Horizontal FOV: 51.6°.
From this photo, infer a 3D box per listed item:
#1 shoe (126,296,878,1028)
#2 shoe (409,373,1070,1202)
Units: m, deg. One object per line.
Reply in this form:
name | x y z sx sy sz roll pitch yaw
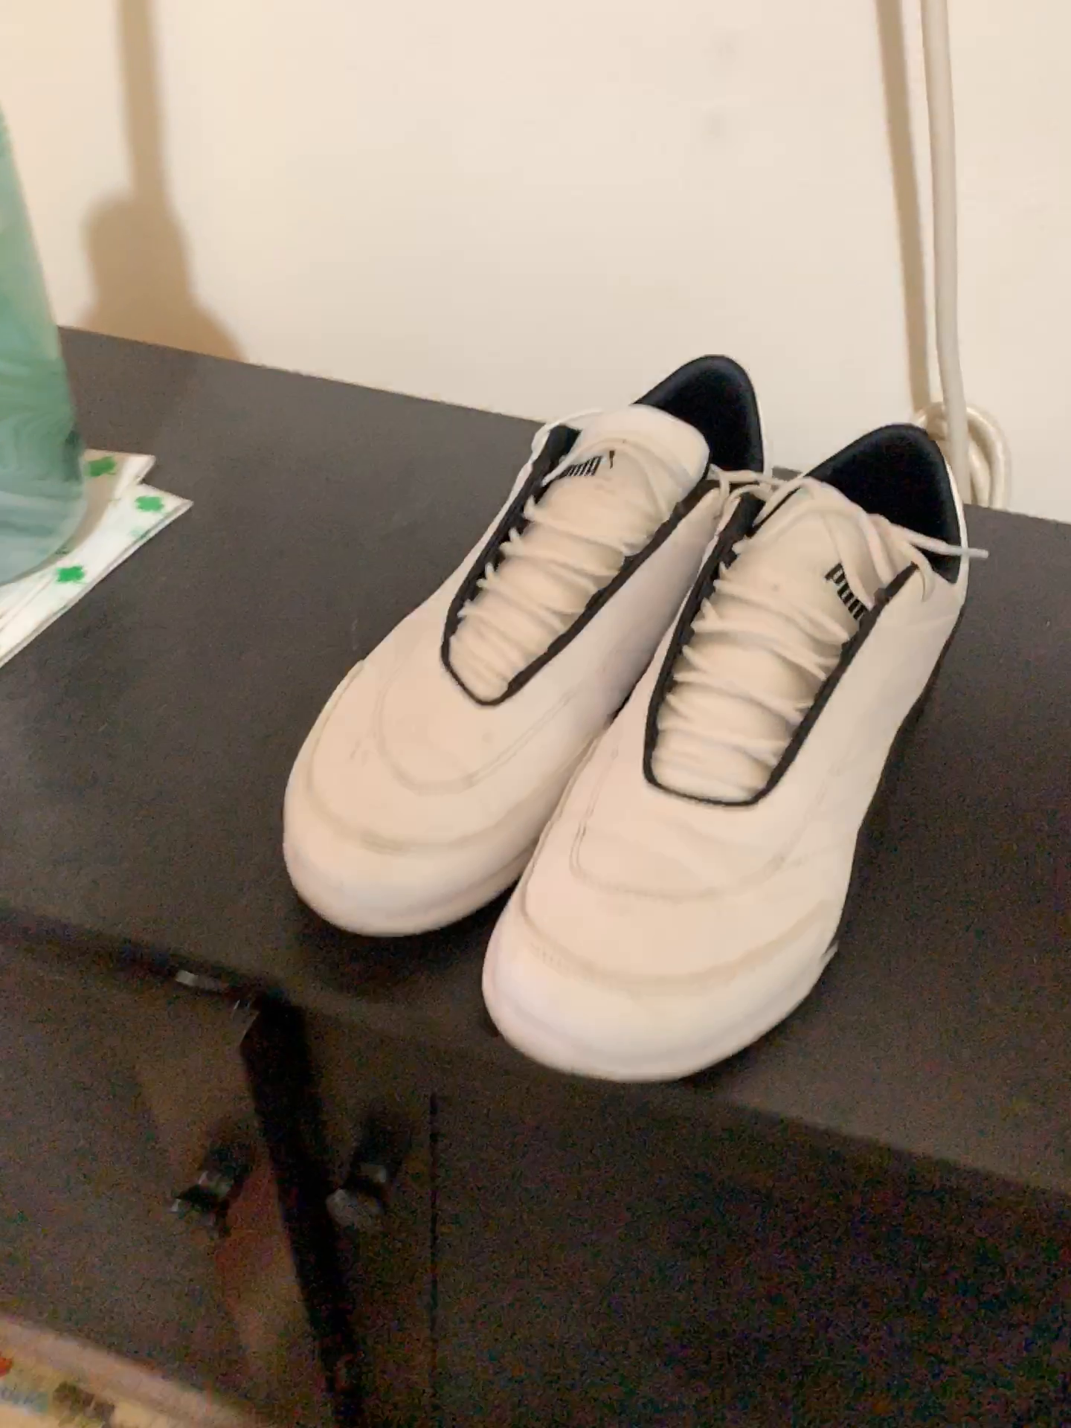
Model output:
shoe | 0.007 -0.043 0.416 0.120 0.089 0.282 27 52 21
shoe | 0.089 0.000 0.385 0.100 0.089 0.292 27 52 21
